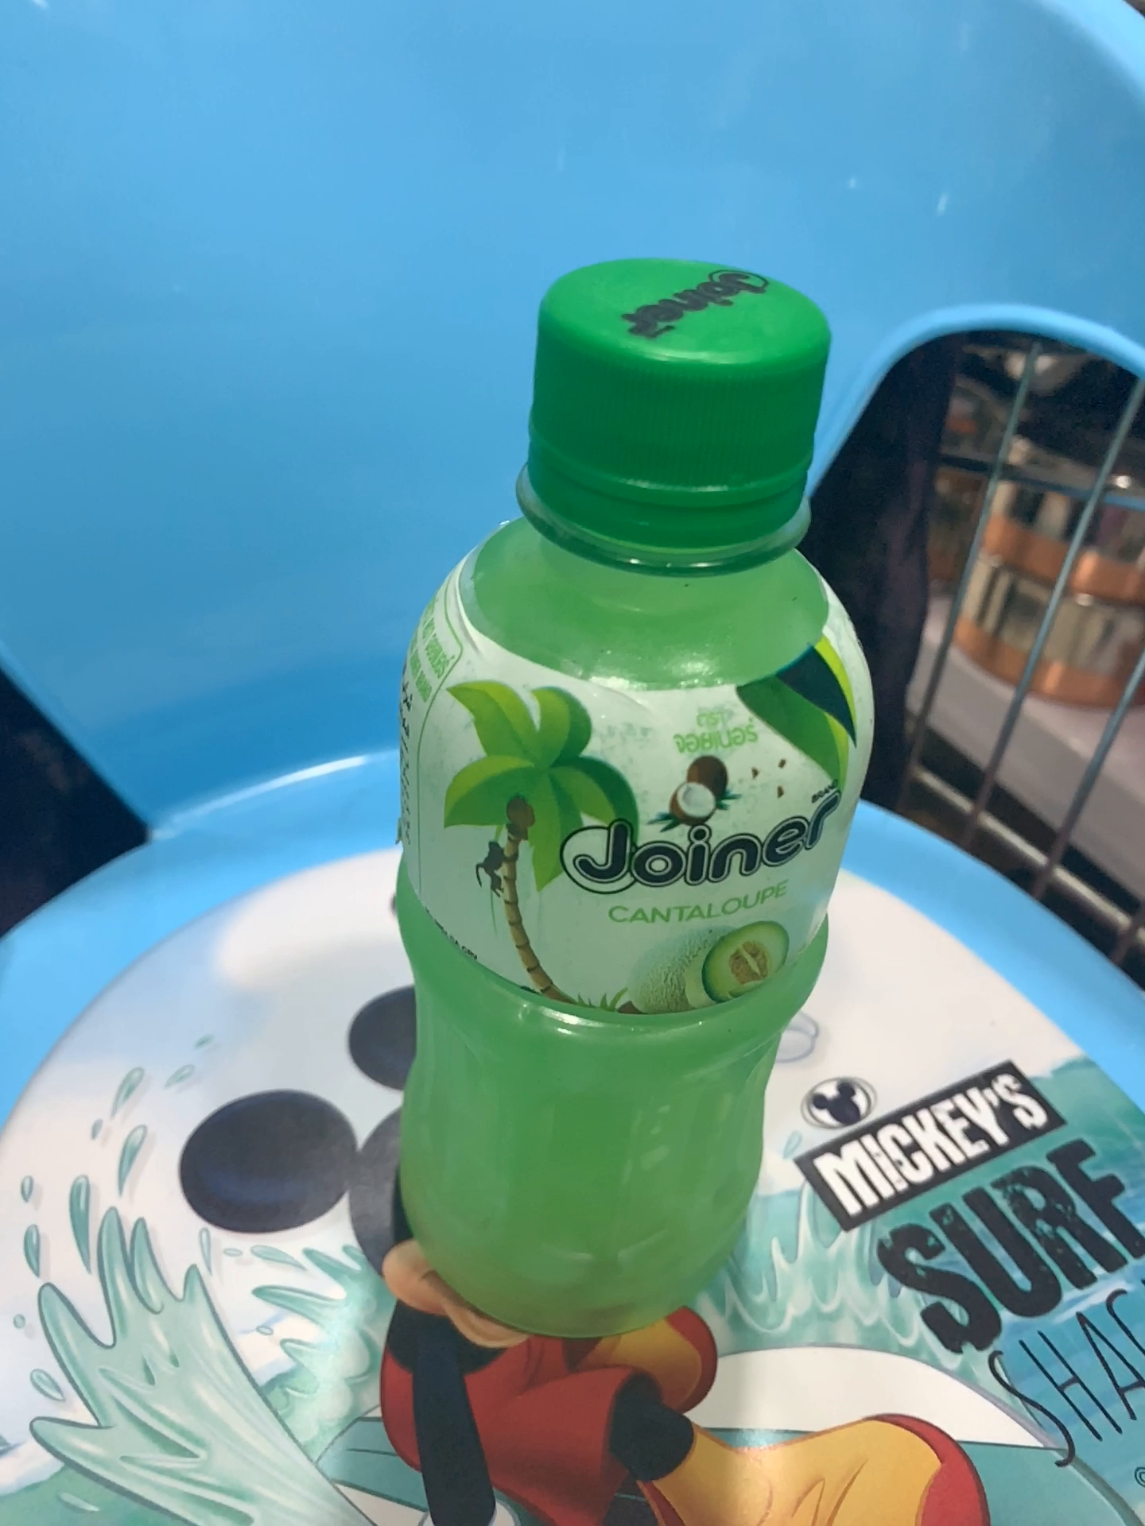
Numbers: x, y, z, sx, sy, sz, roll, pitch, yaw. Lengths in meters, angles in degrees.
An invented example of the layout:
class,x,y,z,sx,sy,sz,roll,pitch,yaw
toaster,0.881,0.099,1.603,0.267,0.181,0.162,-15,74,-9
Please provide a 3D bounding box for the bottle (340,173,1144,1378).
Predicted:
class,x,y,z,sx,sy,sz,roll,pitch,yaw
bottle,0.011,0.006,0.157,0.060,0.139,0.060,1,36,-1
